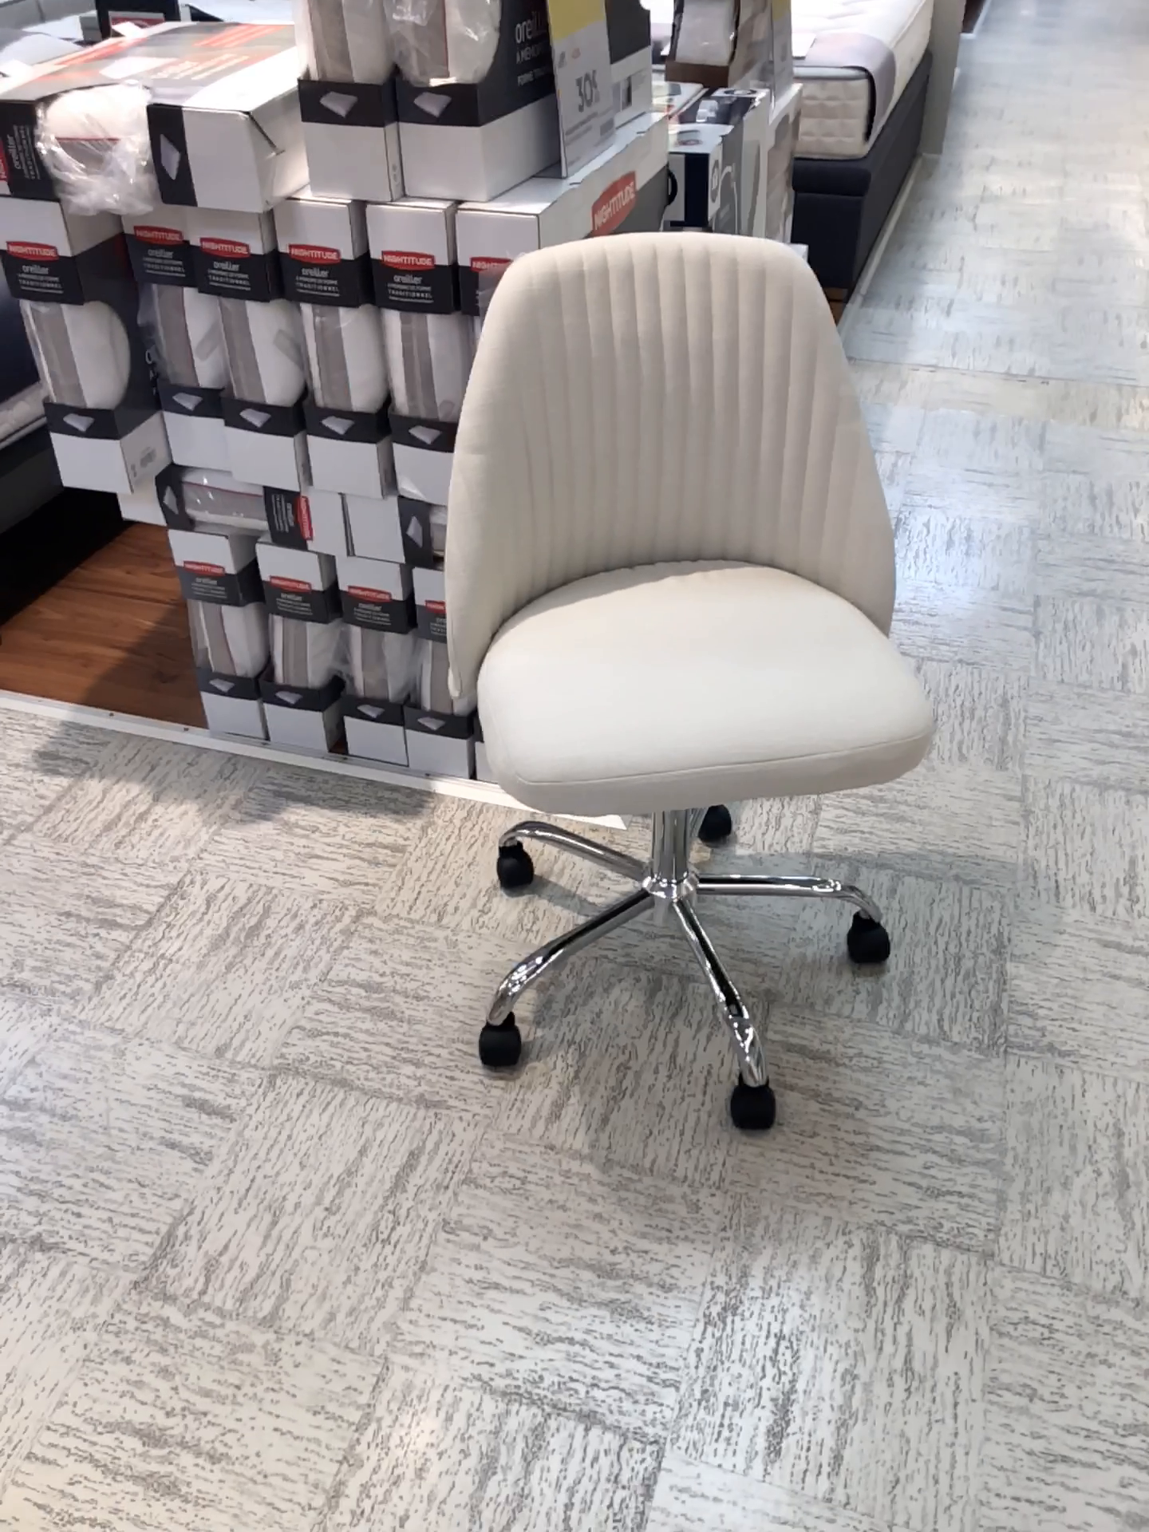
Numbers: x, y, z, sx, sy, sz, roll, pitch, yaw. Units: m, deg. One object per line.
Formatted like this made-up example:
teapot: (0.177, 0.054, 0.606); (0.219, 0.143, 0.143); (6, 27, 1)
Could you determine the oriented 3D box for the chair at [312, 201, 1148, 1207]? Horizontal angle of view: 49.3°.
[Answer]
chair: (0.155, -0.100, 1.386); (0.701, 0.785, 0.633); (-11, 39, -12)
